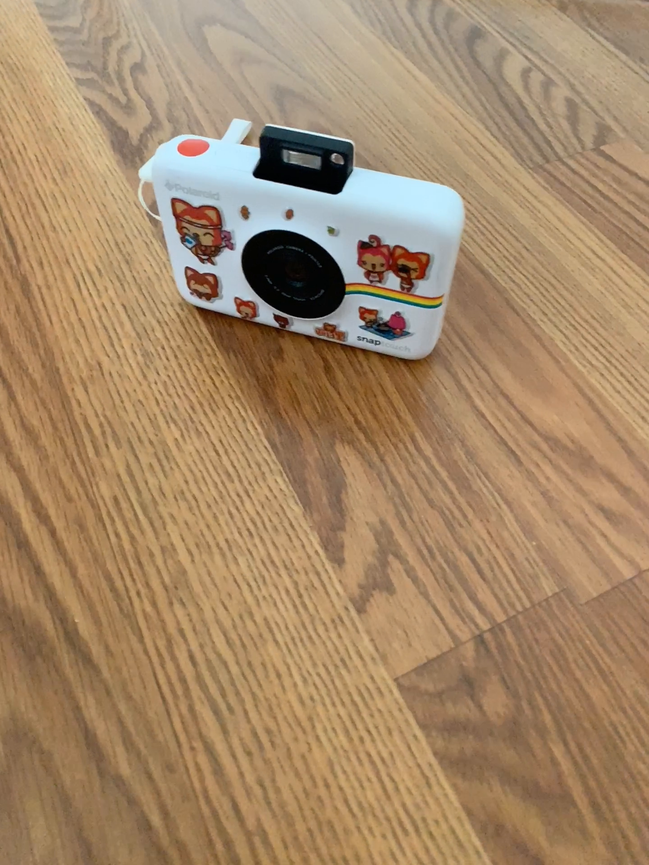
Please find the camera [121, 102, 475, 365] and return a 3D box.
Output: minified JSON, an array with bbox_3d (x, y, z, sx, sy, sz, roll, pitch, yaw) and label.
[{"bbox_3d":[-0.010,-0.078,0.272,0.125,0.081,0.026,15,56,11],"label":"camera"}]
